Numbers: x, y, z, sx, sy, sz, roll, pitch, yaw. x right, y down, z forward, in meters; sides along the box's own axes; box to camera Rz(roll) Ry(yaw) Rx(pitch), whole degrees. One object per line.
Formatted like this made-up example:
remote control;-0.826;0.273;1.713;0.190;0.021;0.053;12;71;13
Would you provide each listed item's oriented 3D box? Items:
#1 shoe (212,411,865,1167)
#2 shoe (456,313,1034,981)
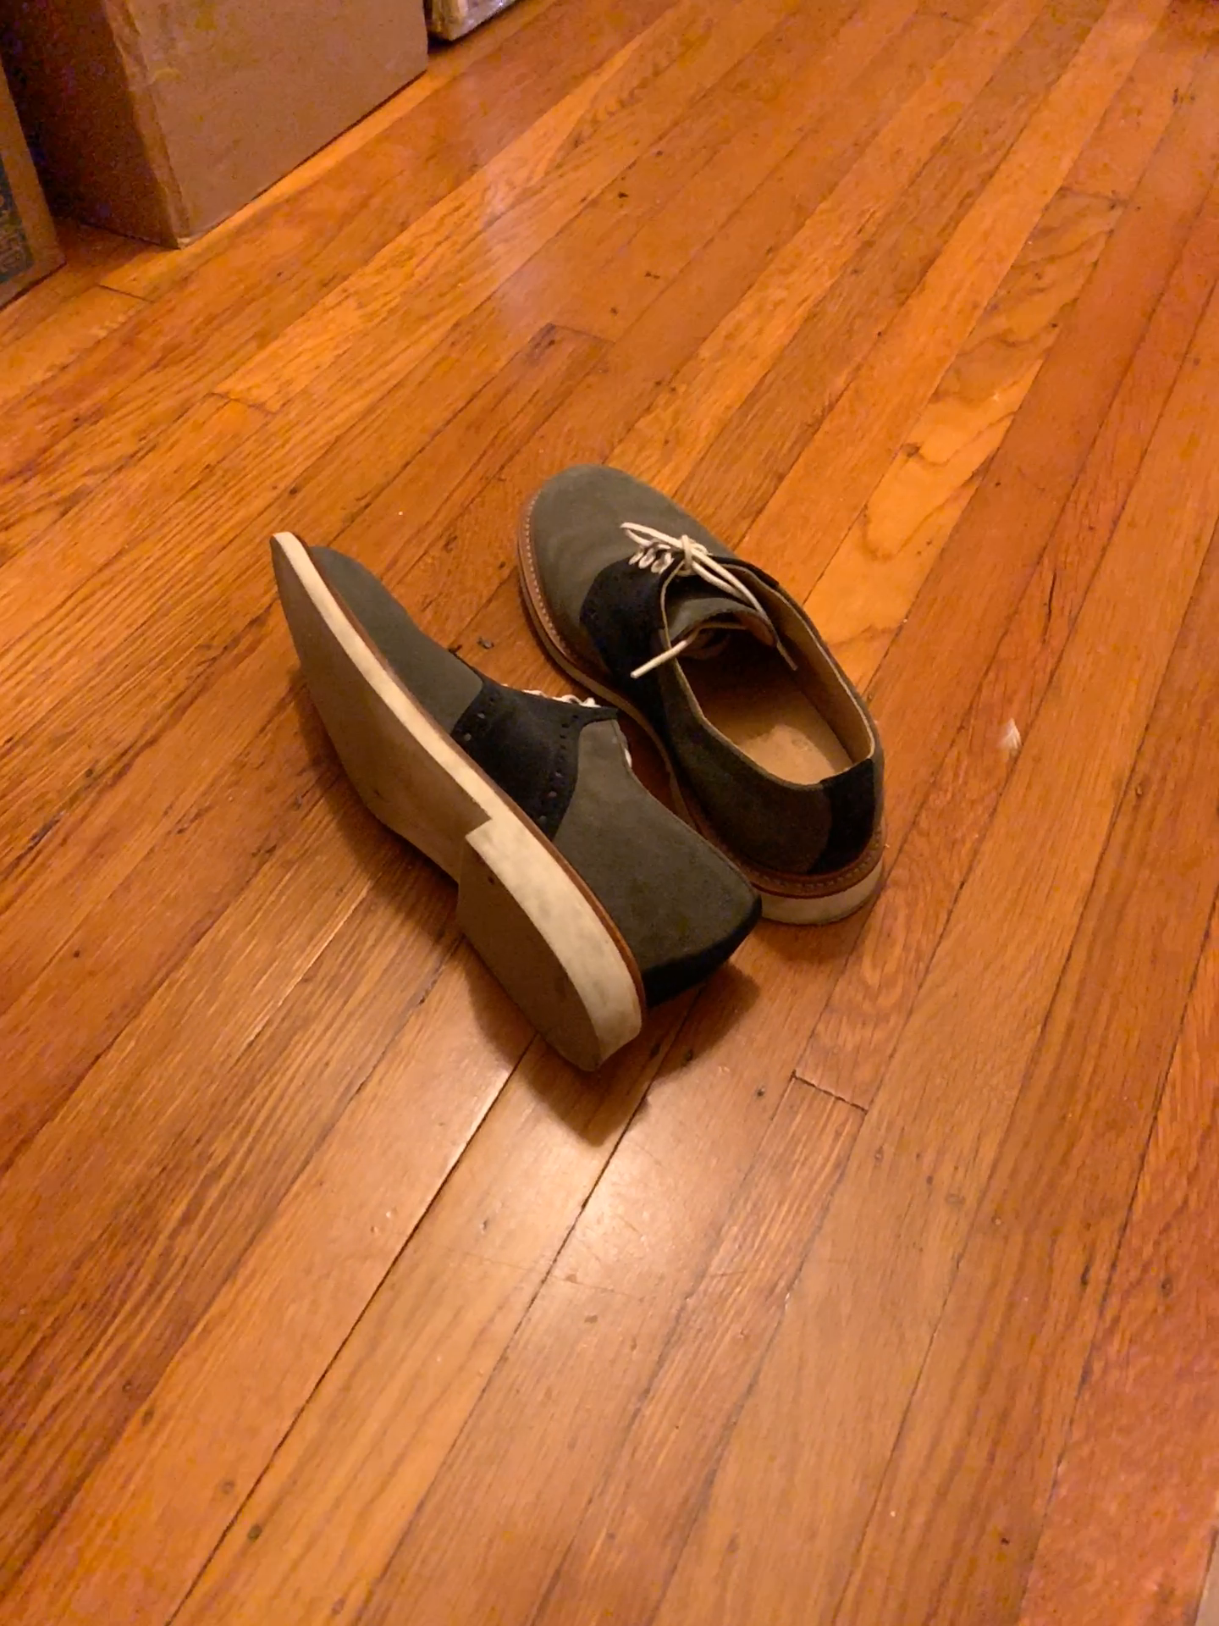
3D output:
shoe;-0.046;-0.026;0.553;0.120;0.129;0.311;-26;56;-21
shoe;0.042;-0.094;0.581;0.130;0.100;0.311;-17;54;-13
